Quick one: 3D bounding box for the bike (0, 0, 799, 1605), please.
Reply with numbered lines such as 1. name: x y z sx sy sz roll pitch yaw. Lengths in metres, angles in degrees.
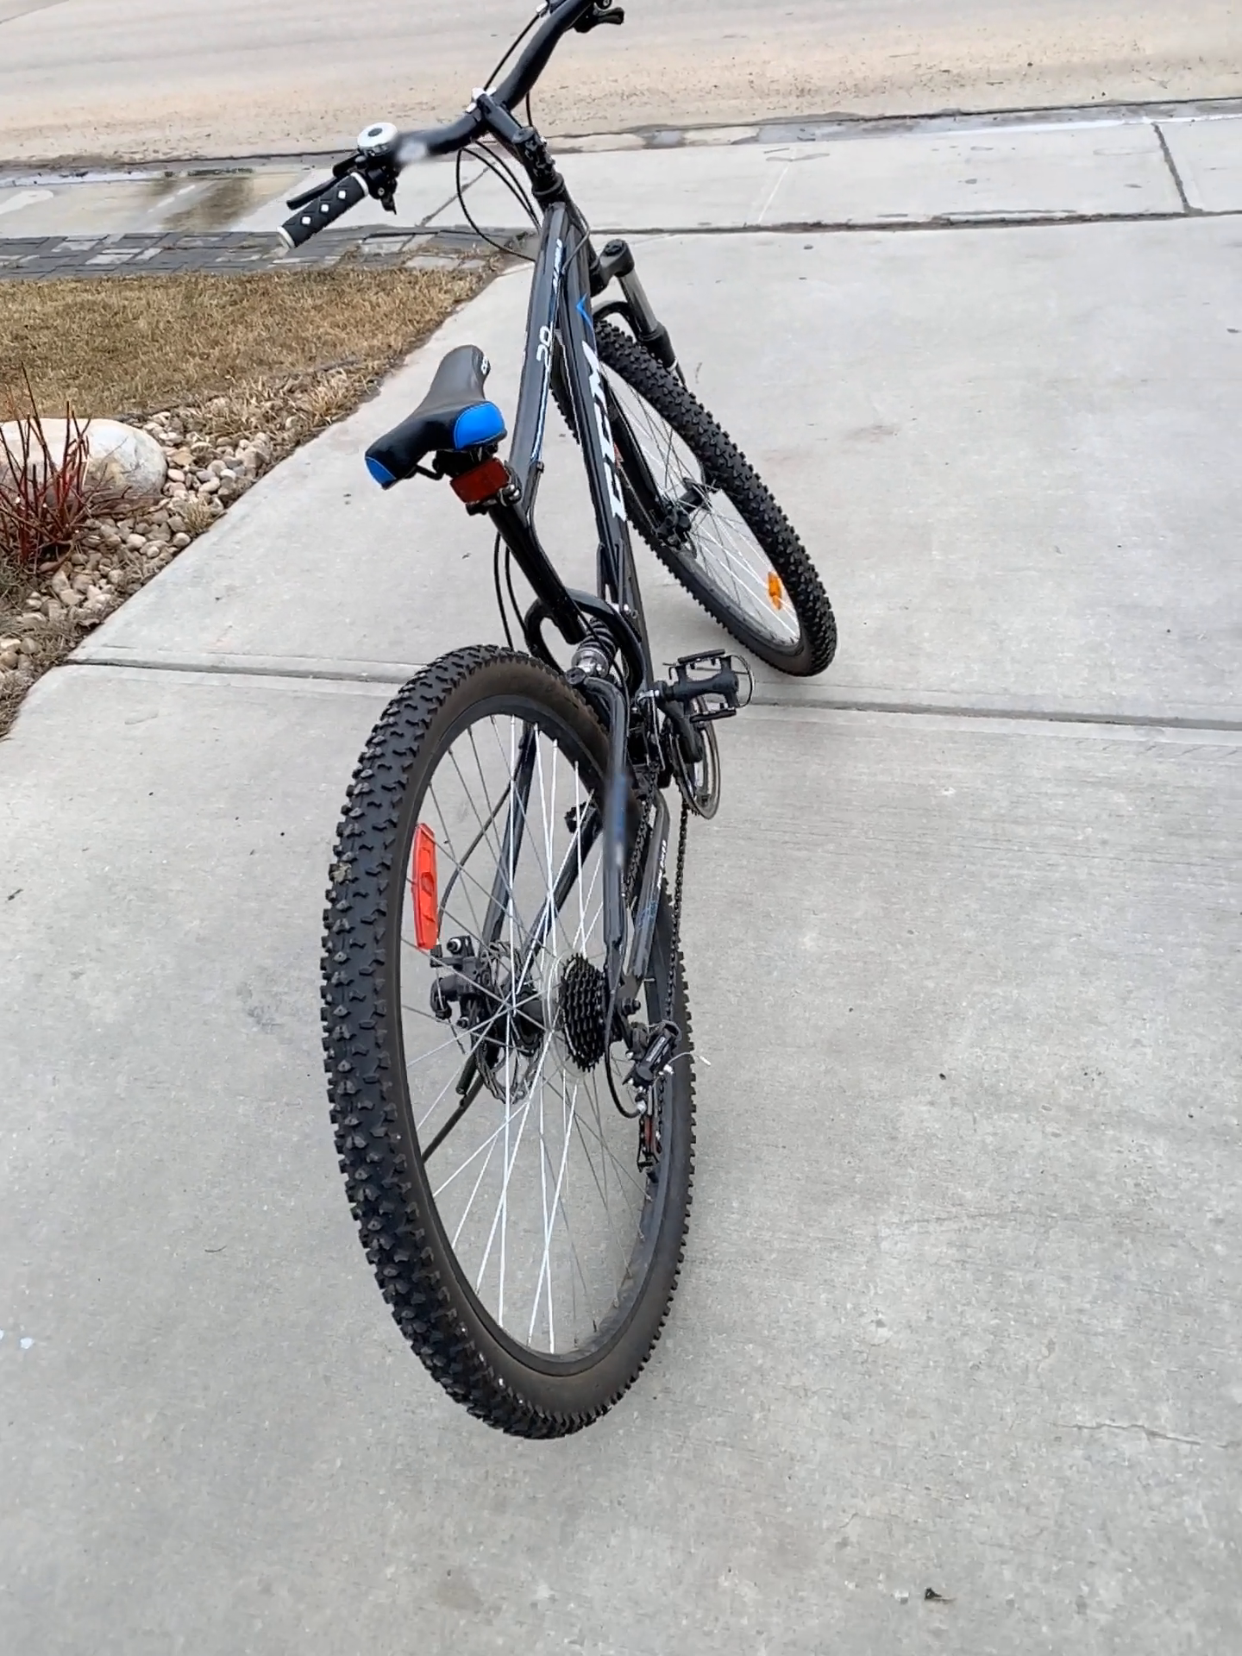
1. bike: -0.197 -0.296 1.535 0.627 1.173 1.799 -4 41 5
